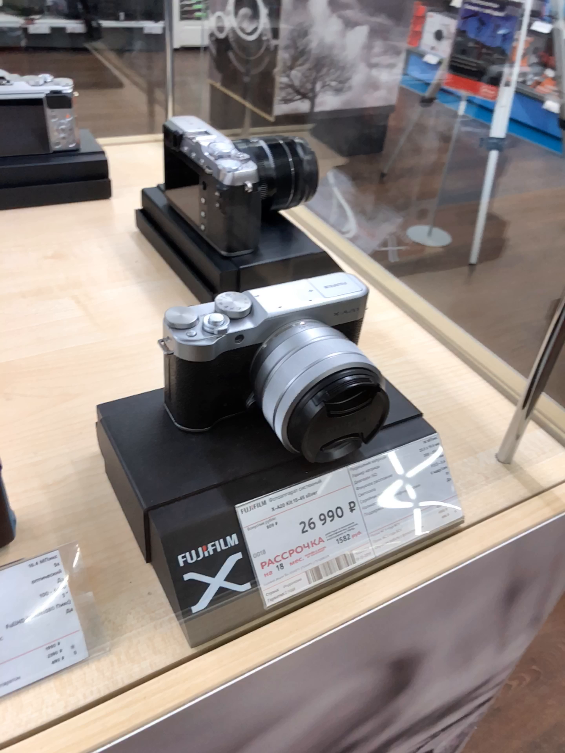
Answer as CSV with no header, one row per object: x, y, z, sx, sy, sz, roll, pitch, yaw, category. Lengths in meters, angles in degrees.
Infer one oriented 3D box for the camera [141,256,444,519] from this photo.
0.001,-0.002,0.330,0.120,0.070,0.093,-16,43,-26,camera

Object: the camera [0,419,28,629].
-0.180,0.066,0.286,0.106,0.064,0.025,-16,43,-26,camera

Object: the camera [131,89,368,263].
-0.038,-0.189,0.560,0.130,0.074,0.188,-17,44,-27,camera
